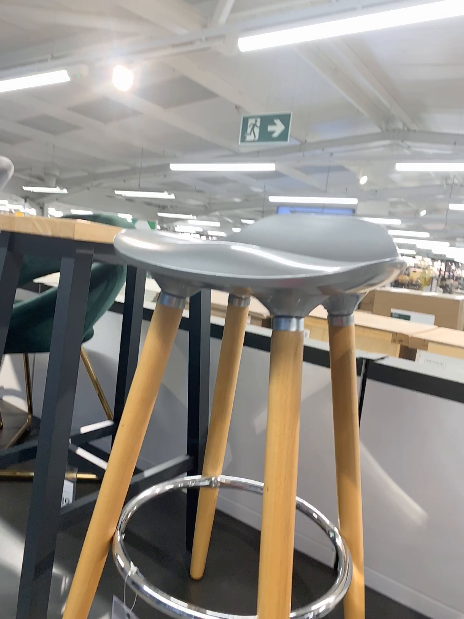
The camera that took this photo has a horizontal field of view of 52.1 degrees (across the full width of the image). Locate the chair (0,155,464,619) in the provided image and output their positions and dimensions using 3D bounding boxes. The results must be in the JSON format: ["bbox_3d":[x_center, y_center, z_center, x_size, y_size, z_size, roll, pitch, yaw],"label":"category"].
[{"bbox_3d":[0.015,0.198,0.727,0.443,0.738,0.461,11,7,35],"label":"chair"}]

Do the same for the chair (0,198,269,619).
[{"bbox_3d":[-0.284,0.169,0.977,0.443,0.688,0.501,11,7,33],"label":"chair"}]
